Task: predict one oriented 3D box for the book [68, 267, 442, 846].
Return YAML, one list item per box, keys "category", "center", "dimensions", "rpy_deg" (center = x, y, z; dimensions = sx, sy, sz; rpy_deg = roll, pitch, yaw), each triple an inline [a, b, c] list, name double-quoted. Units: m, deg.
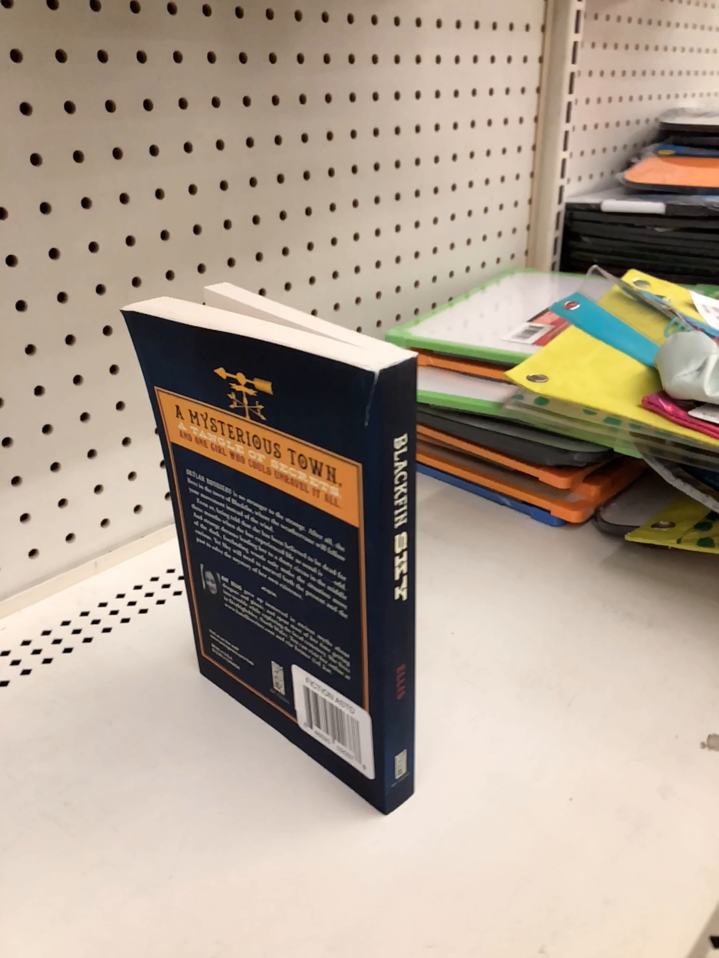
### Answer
- category: "book"
  center: [-0.043, 0.028, 0.347]
  dimensions: [0.150, 0.205, 0.059]
  rpy_deg: [24, 38, 39]
